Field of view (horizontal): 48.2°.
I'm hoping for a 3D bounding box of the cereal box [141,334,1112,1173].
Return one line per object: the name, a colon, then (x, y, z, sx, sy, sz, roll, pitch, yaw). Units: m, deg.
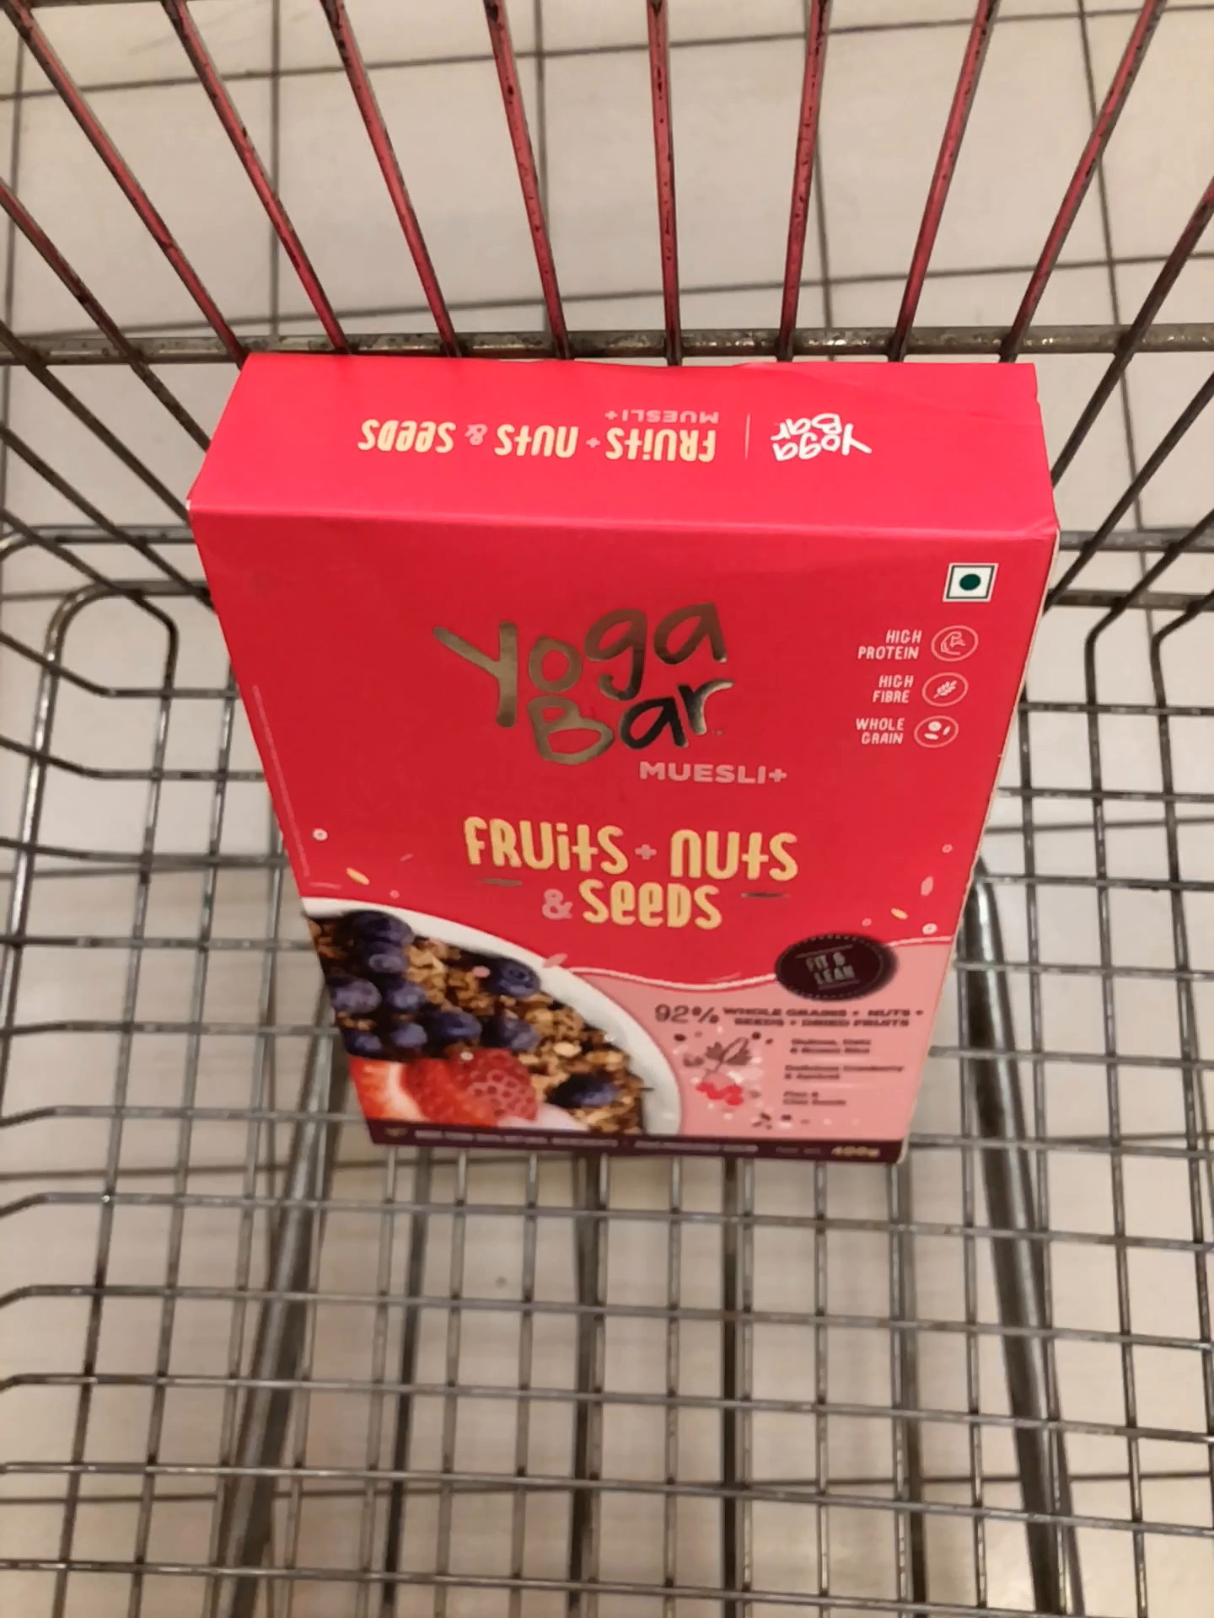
cereal box: (0.007, 0.006, 0.346, 0.170, 0.239, 0.060, 2, 49, 4)
